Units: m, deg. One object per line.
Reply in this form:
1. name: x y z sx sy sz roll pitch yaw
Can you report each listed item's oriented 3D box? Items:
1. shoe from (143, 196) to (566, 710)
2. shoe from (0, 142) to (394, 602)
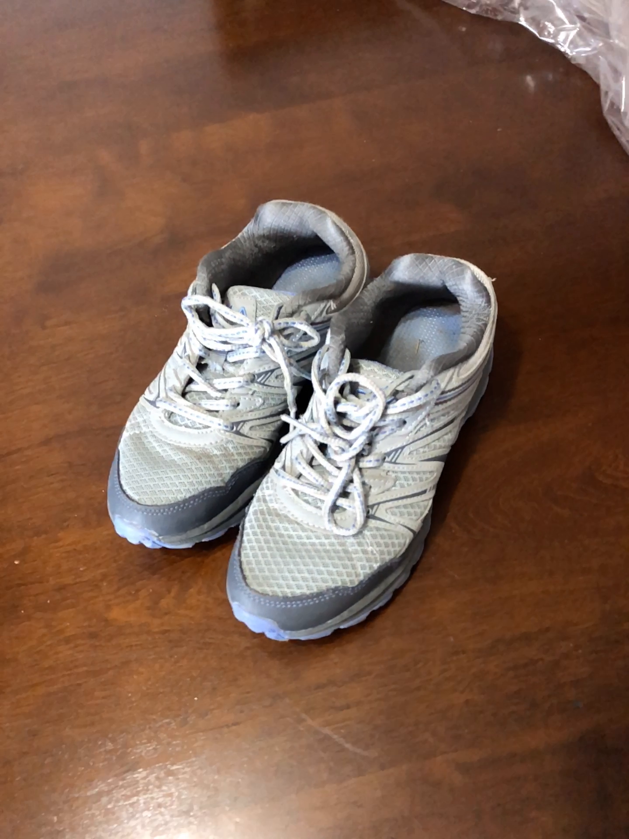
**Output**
1. shoe: 0.036 0.008 0.399 0.110 0.100 0.260 23 63 19
2. shoe: -0.055 -0.039 0.424 0.110 0.100 0.250 23 63 19
